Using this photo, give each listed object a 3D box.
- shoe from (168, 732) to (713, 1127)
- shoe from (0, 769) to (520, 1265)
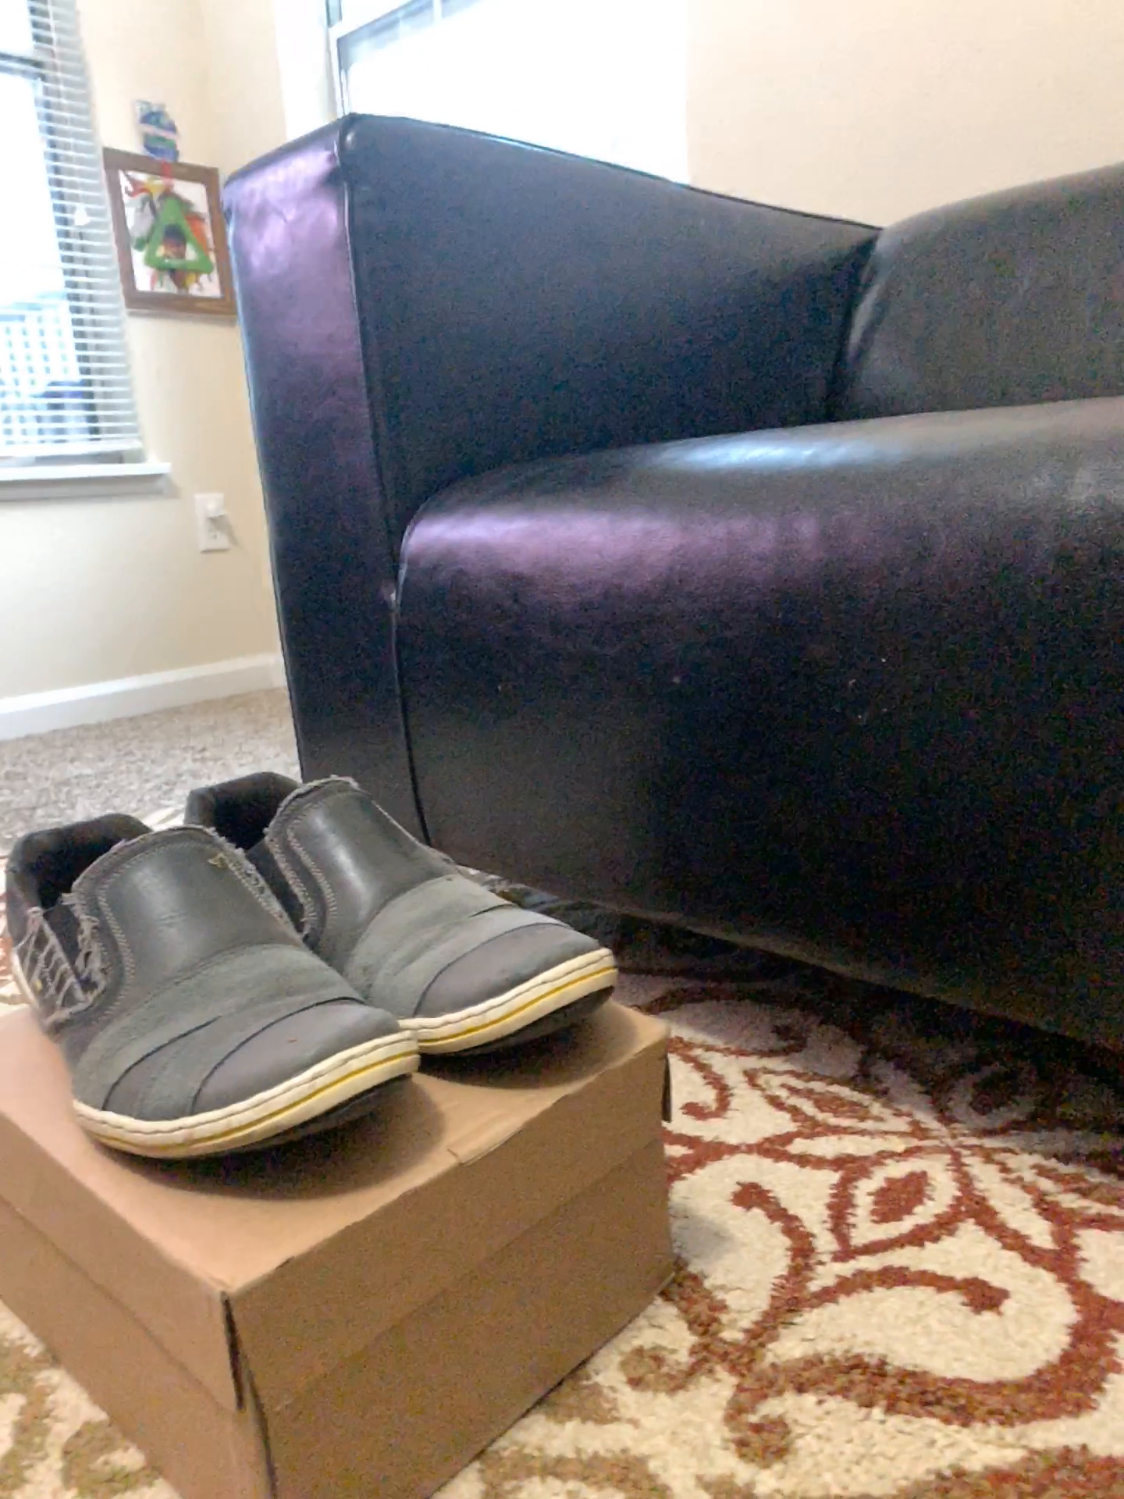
[{"bbox_3d":[-0.071,0.066,0.571,0.140,0.100,0.261,-13,15,-38],"label":"shoe"},{"bbox_3d":[-0.156,0.088,0.502,0.140,0.100,0.261,-13,15,-38],"label":"shoe"}]
